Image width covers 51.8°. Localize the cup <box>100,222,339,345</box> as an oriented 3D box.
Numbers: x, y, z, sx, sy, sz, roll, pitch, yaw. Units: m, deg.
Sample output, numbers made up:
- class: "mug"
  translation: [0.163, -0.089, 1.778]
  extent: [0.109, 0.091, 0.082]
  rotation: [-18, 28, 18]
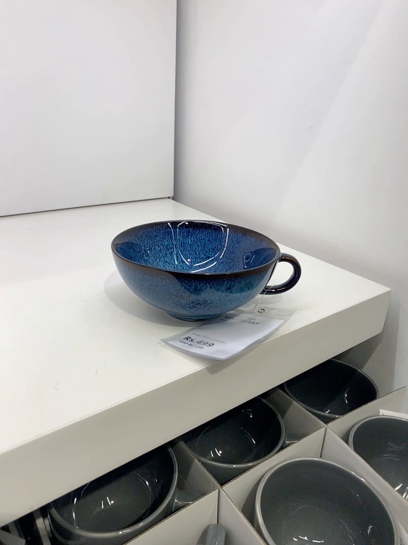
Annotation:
- class: "cup"
  translation: [0.004, 0.001, 0.346]
  extent: [0.160, 0.050, 0.130]
  rotation: [0, 22, -8]
